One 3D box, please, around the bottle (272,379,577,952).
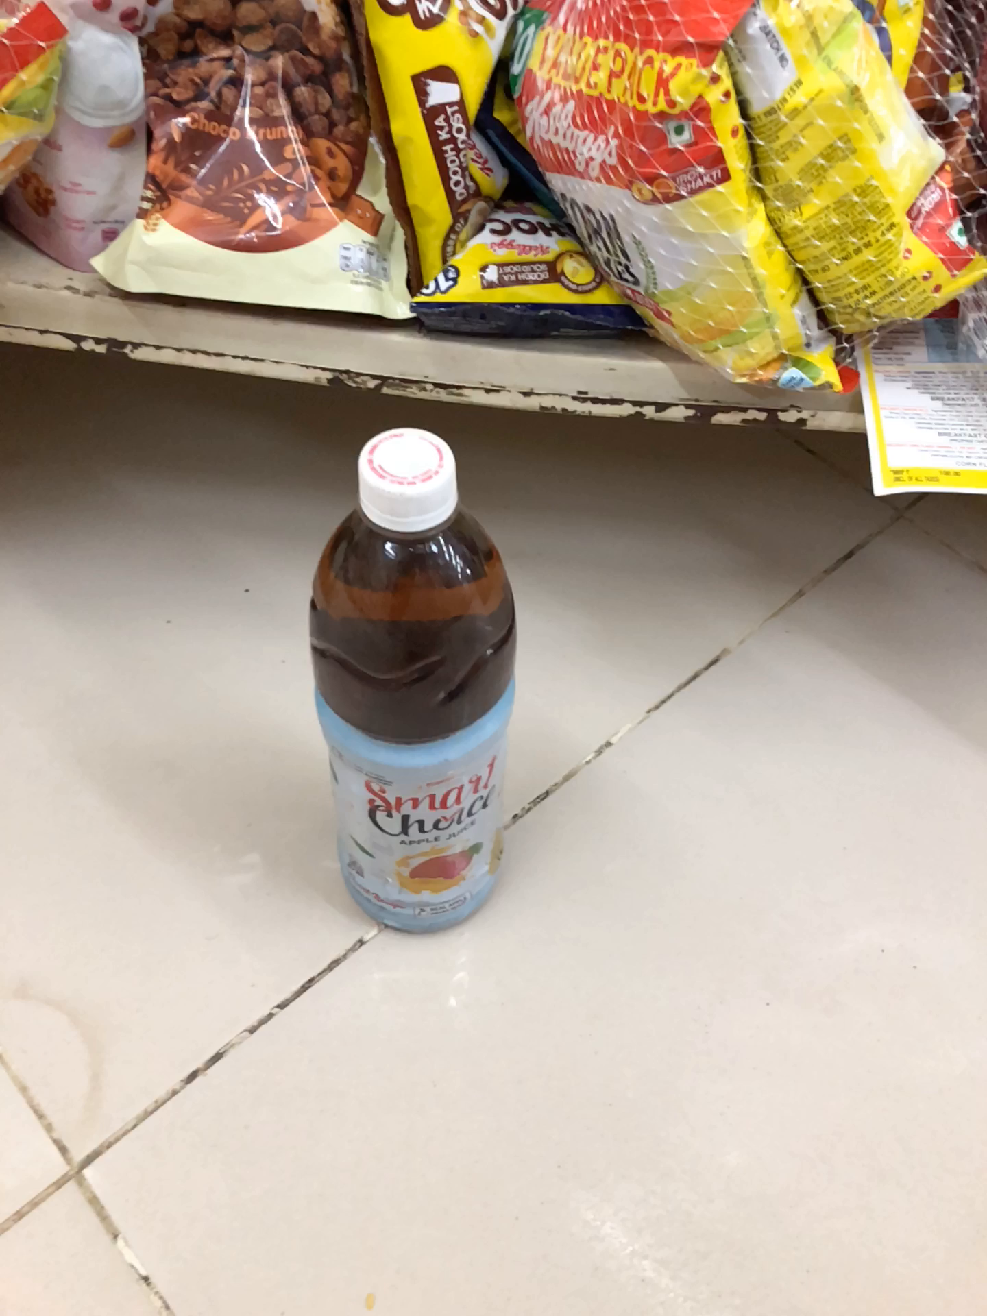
[{"bbox_3d":[-0.029,0.021,0.423,0.080,0.249,0.080,2,53,-2],"label":"bottle"}]
